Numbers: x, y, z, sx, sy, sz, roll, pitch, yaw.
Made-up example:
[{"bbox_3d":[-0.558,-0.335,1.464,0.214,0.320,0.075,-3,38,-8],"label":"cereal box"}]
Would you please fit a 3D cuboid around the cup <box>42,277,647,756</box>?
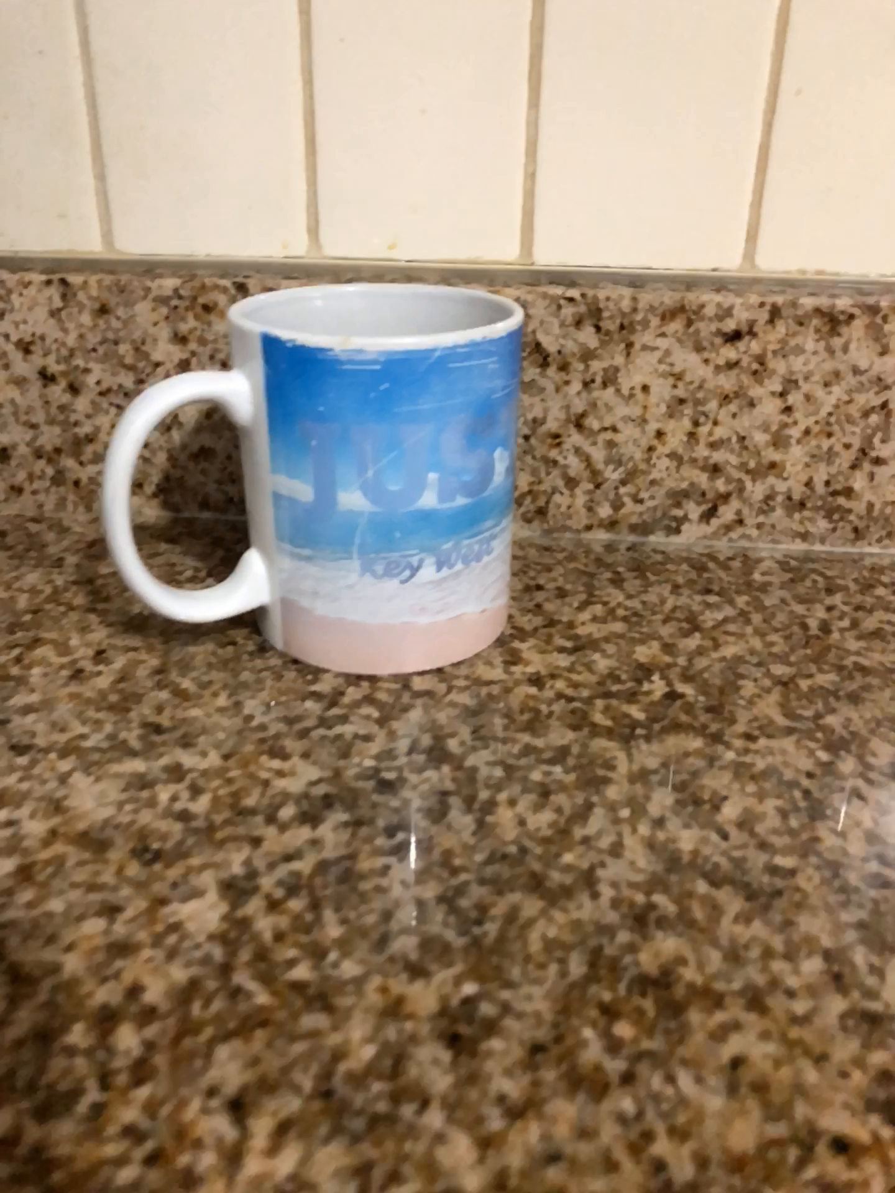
[{"bbox_3d":[-0.029,-0.033,0.272,0.130,0.090,0.090,-12,27,-26],"label":"cup"}]
